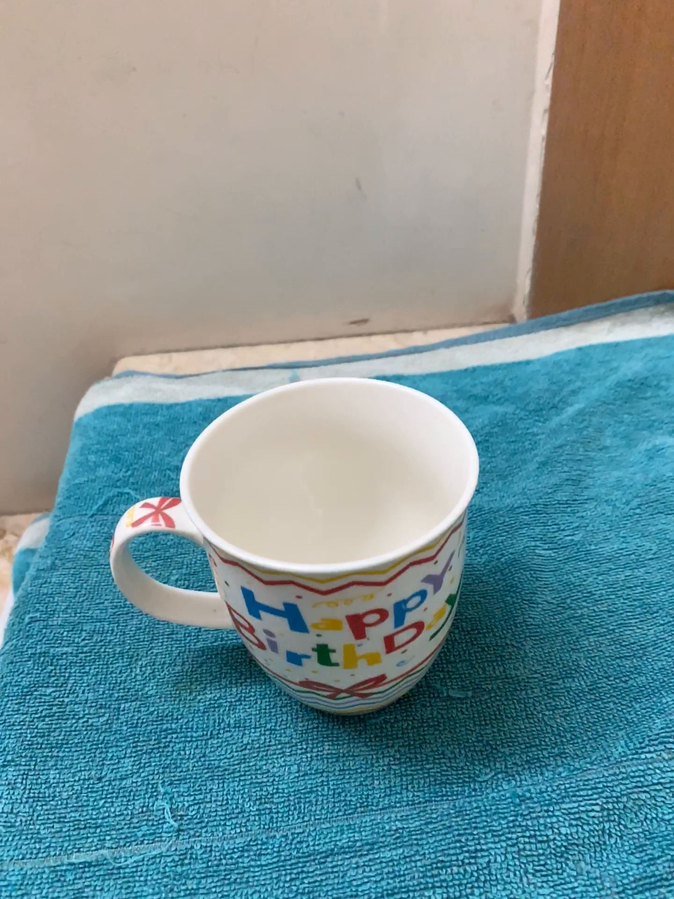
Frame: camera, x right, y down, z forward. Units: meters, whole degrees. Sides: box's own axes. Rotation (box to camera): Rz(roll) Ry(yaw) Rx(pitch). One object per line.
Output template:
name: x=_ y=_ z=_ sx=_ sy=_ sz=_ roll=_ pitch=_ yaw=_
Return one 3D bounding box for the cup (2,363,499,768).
cup: x=-0.020 y=0.040 z=0.249 sx=0.130 sy=0.099 sz=0.091 roll=-4 pitch=39 yaw=2
